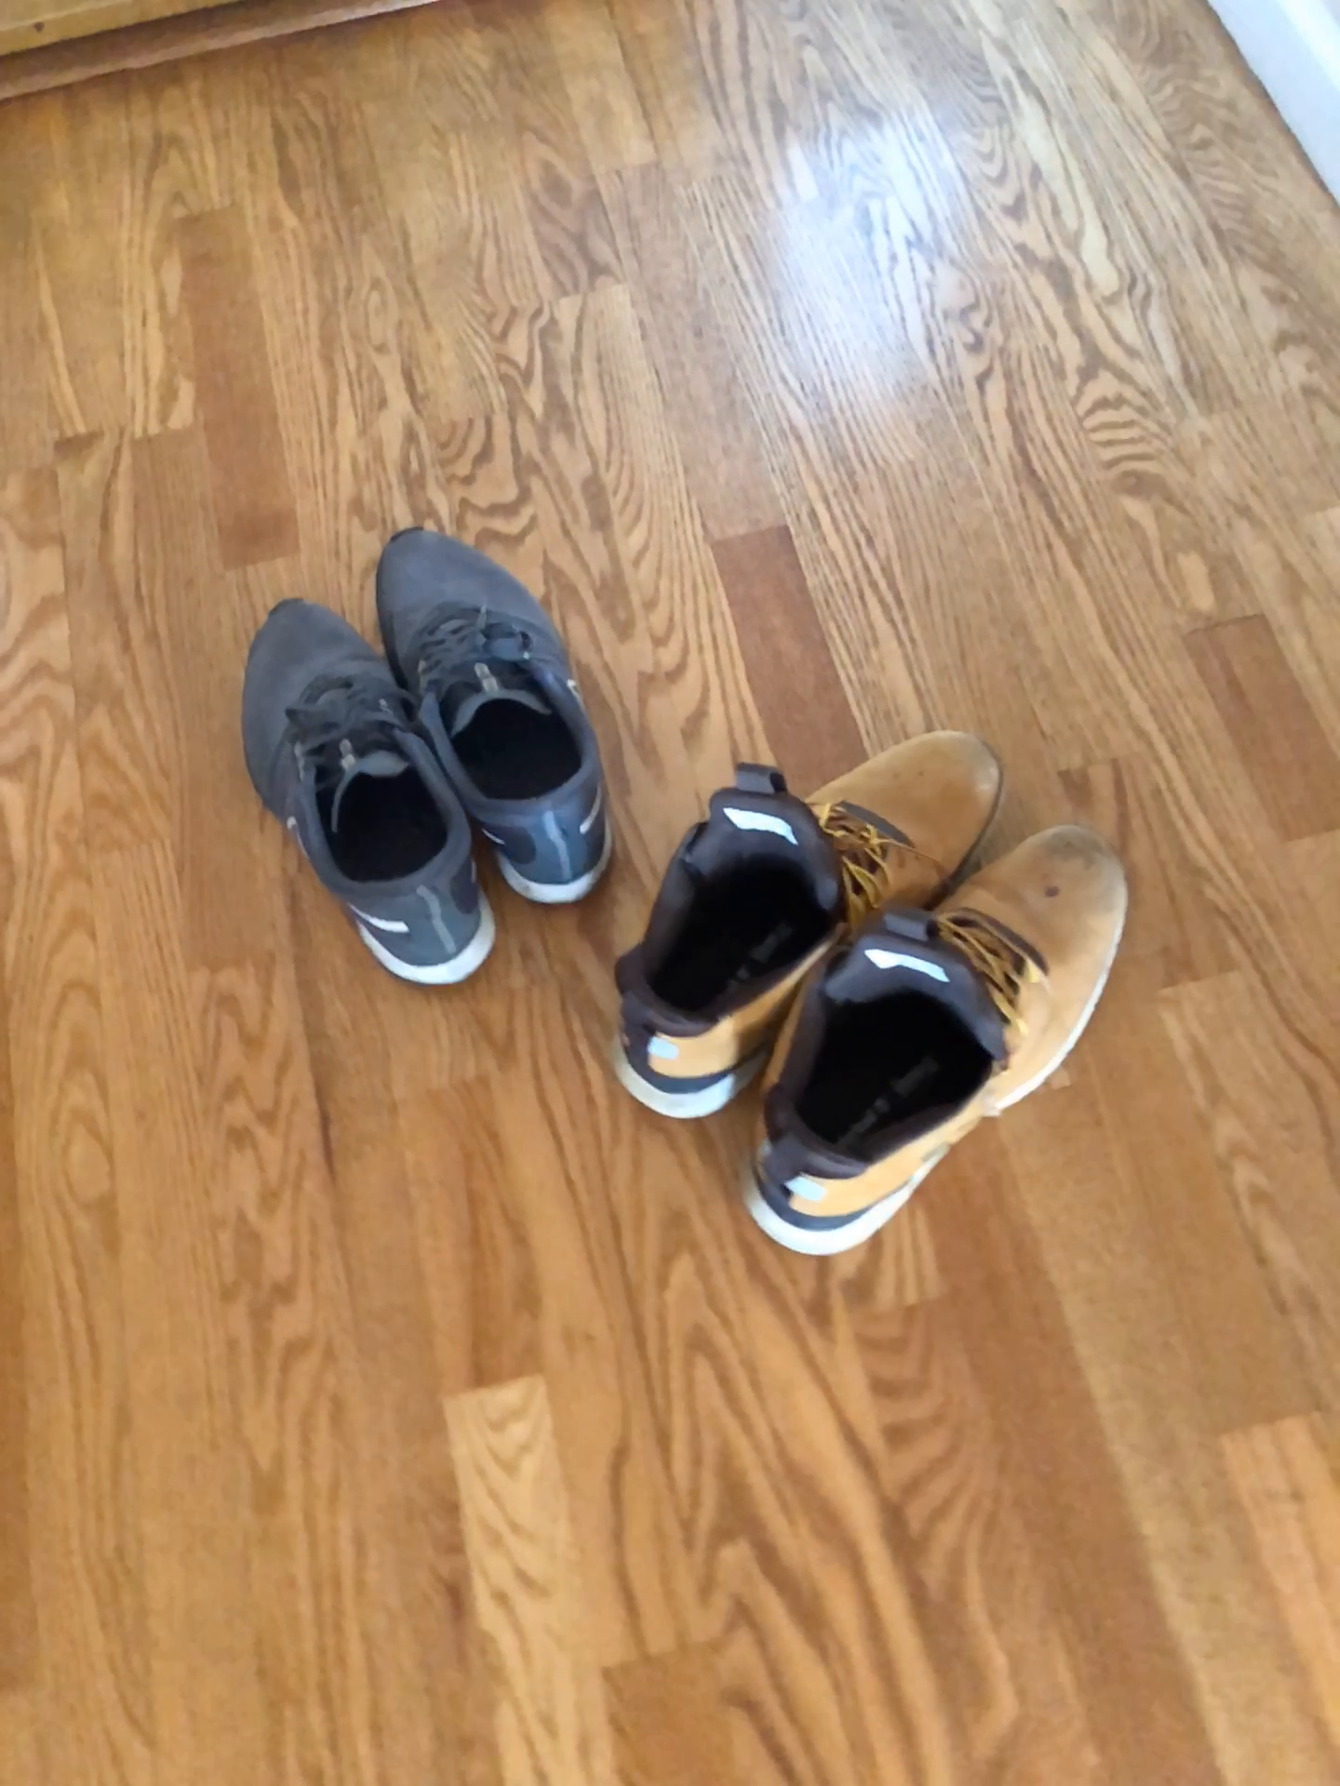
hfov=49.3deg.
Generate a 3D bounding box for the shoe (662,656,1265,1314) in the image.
[{"bbox_3d":[0.156,0.050,0.793,0.130,0.140,0.320,38,73,19],"label":"shoe"}]

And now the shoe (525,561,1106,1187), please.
[{"bbox_3d":[0.086,-0.011,0.832,0.130,0.140,0.320,38,73,19],"label":"shoe"}]

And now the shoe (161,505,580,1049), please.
[{"bbox_3d":[-0.196,-0.080,0.949,0.140,0.100,0.321,-26,66,-8],"label":"shoe"}]

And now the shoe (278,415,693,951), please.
[{"bbox_3d":[-0.125,-0.146,0.975,0.140,0.100,0.331,-26,66,-8],"label":"shoe"}]
